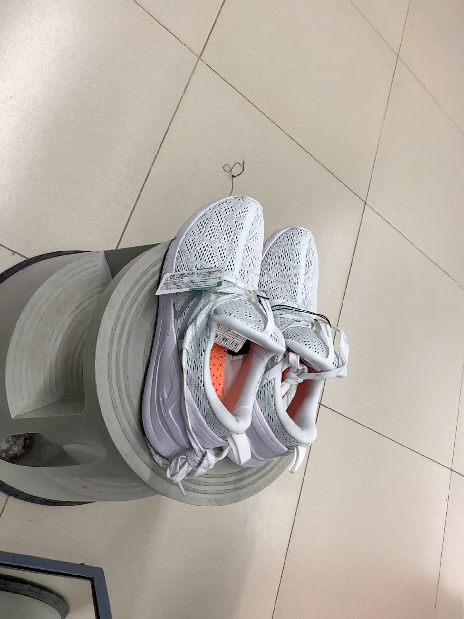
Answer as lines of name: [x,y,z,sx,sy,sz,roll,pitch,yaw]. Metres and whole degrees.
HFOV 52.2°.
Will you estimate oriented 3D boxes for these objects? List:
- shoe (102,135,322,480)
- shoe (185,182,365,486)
shoe: [-0.010,-0.002,0.445,0.110,0.090,0.280,26,68,-32]
shoe: [0.054,0.024,0.499,0.110,0.080,0.280,26,68,-32]
